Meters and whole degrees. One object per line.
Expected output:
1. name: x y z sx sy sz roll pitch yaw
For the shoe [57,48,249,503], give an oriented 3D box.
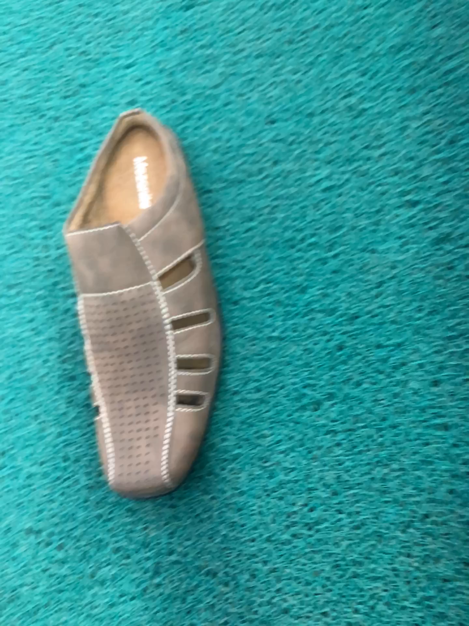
1. shoe: -0.061 -0.028 0.366 0.090 0.070 0.290 -11 74 14
